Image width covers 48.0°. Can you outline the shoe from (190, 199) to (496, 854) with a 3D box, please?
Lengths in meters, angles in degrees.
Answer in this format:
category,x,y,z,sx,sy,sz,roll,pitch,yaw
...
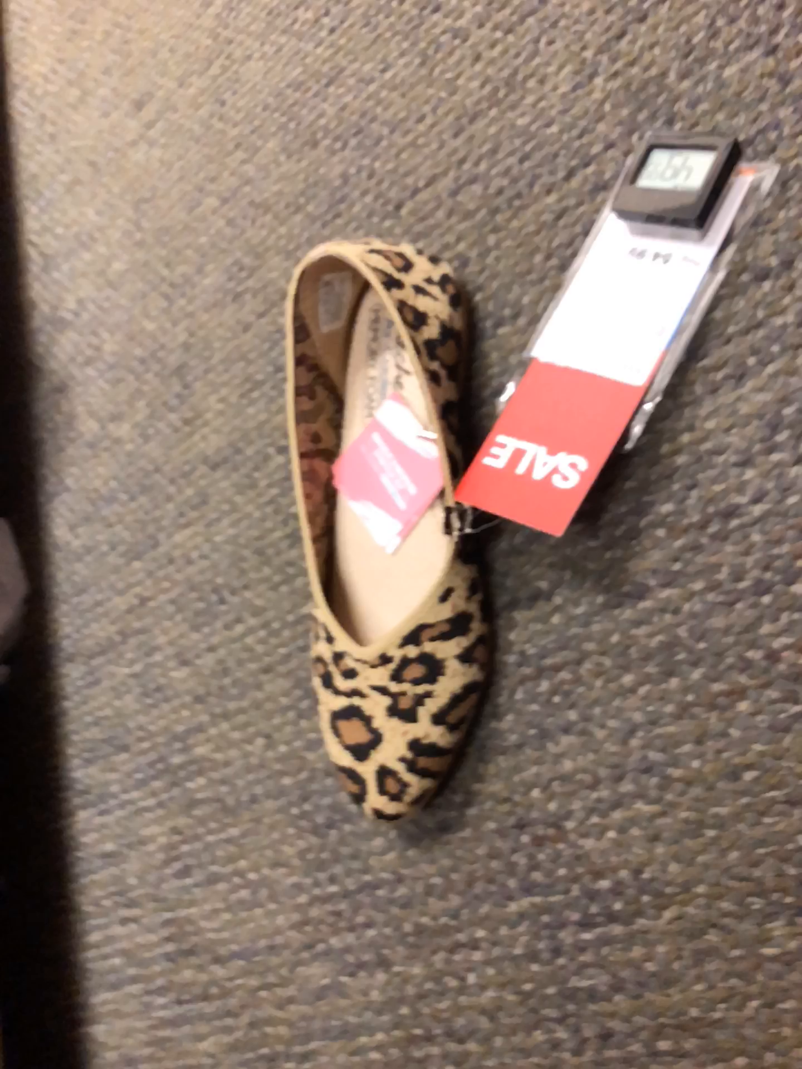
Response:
category,x,y,z,sx,sy,sz,roll,pitch,yaw
shoe,-0.023,0.000,0.364,0.105,0.056,0.232,-9,75,37
